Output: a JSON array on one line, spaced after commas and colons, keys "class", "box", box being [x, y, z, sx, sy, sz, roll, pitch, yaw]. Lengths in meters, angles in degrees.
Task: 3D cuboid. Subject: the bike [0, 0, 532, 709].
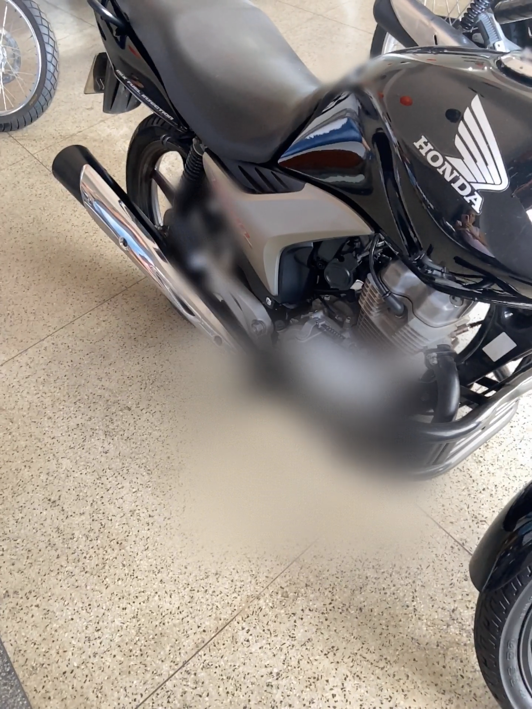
[{"class": "bike", "box": [0.302, -0.262, 1.003, 1.739, 1.138, 0.775, 36, 65, 28]}]
